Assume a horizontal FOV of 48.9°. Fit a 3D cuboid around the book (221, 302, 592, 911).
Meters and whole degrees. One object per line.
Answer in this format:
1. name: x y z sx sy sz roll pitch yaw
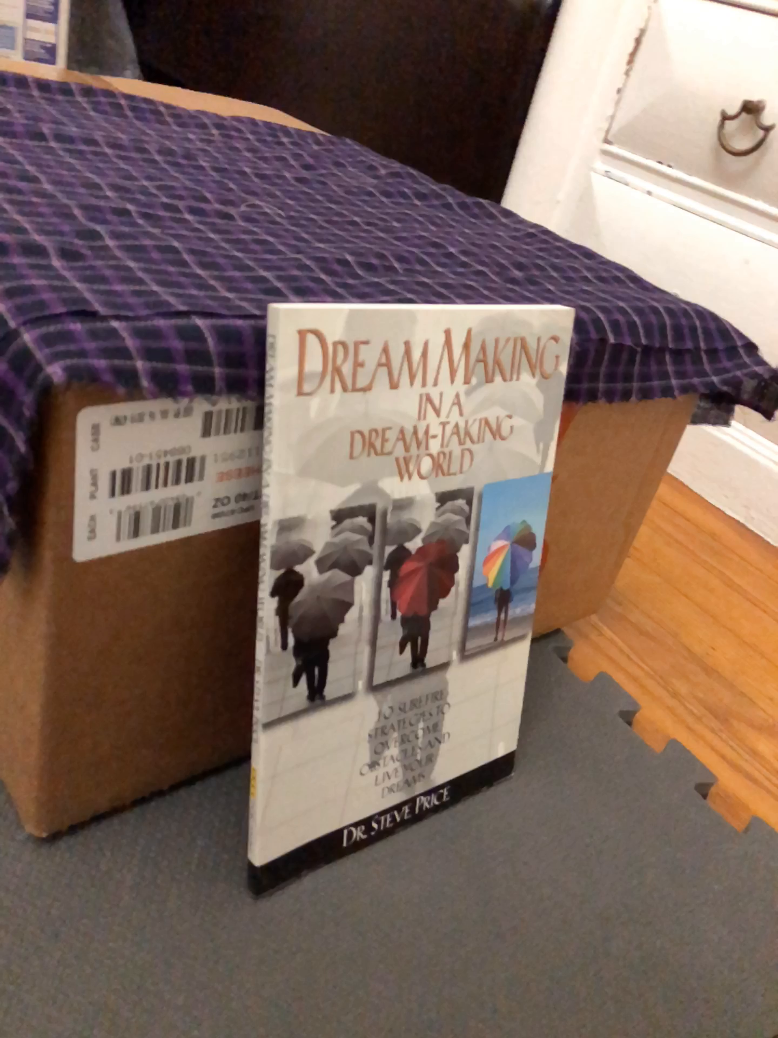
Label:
1. book: 0.007 0.029 0.336 0.150 0.219 0.020 -11 24 -36
